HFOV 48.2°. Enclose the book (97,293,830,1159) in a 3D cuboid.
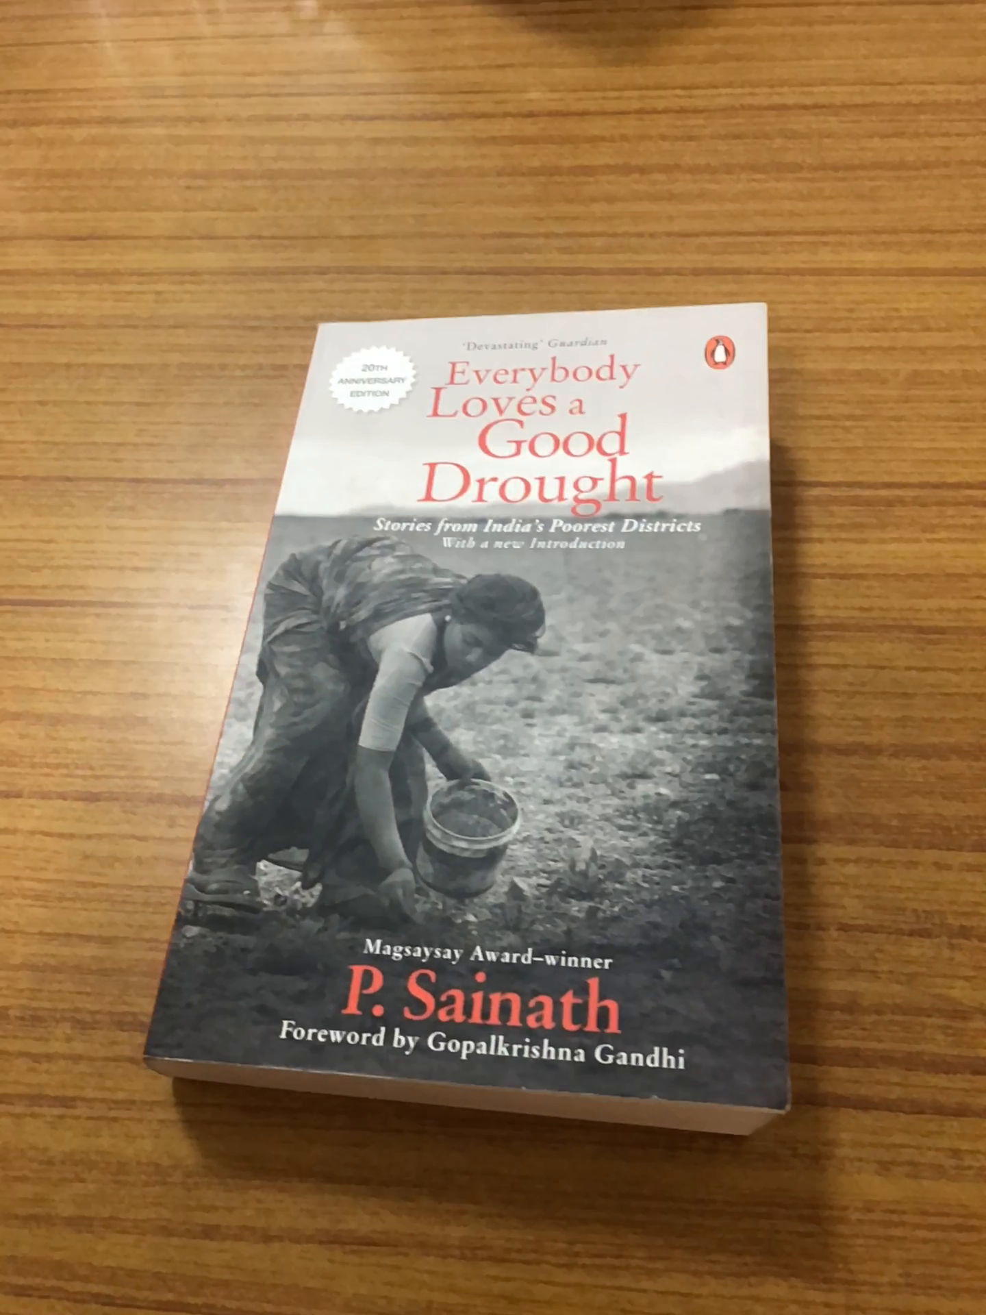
[{"bbox_3d":[0.004,0.001,0.275,0.140,0.040,0.210,3,62,7],"label":"book"}]
